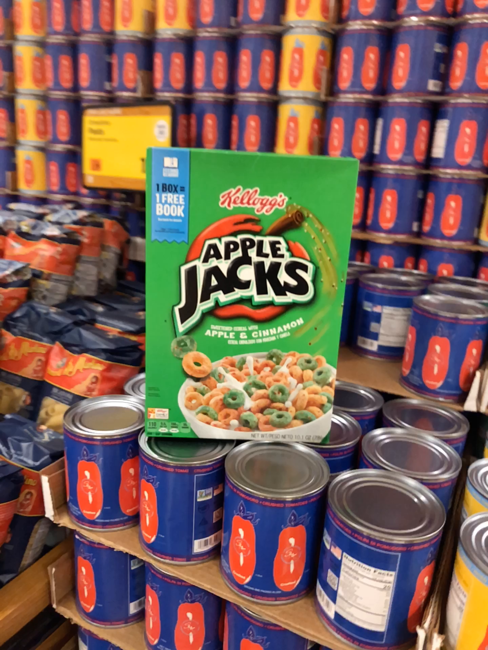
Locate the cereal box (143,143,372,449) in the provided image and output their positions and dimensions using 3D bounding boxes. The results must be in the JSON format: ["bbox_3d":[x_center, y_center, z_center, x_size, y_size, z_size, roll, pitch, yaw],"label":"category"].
[{"bbox_3d":[0.005,-0.024,0.546,0.200,0.289,0.060,3,16,-2],"label":"cereal box"}]
